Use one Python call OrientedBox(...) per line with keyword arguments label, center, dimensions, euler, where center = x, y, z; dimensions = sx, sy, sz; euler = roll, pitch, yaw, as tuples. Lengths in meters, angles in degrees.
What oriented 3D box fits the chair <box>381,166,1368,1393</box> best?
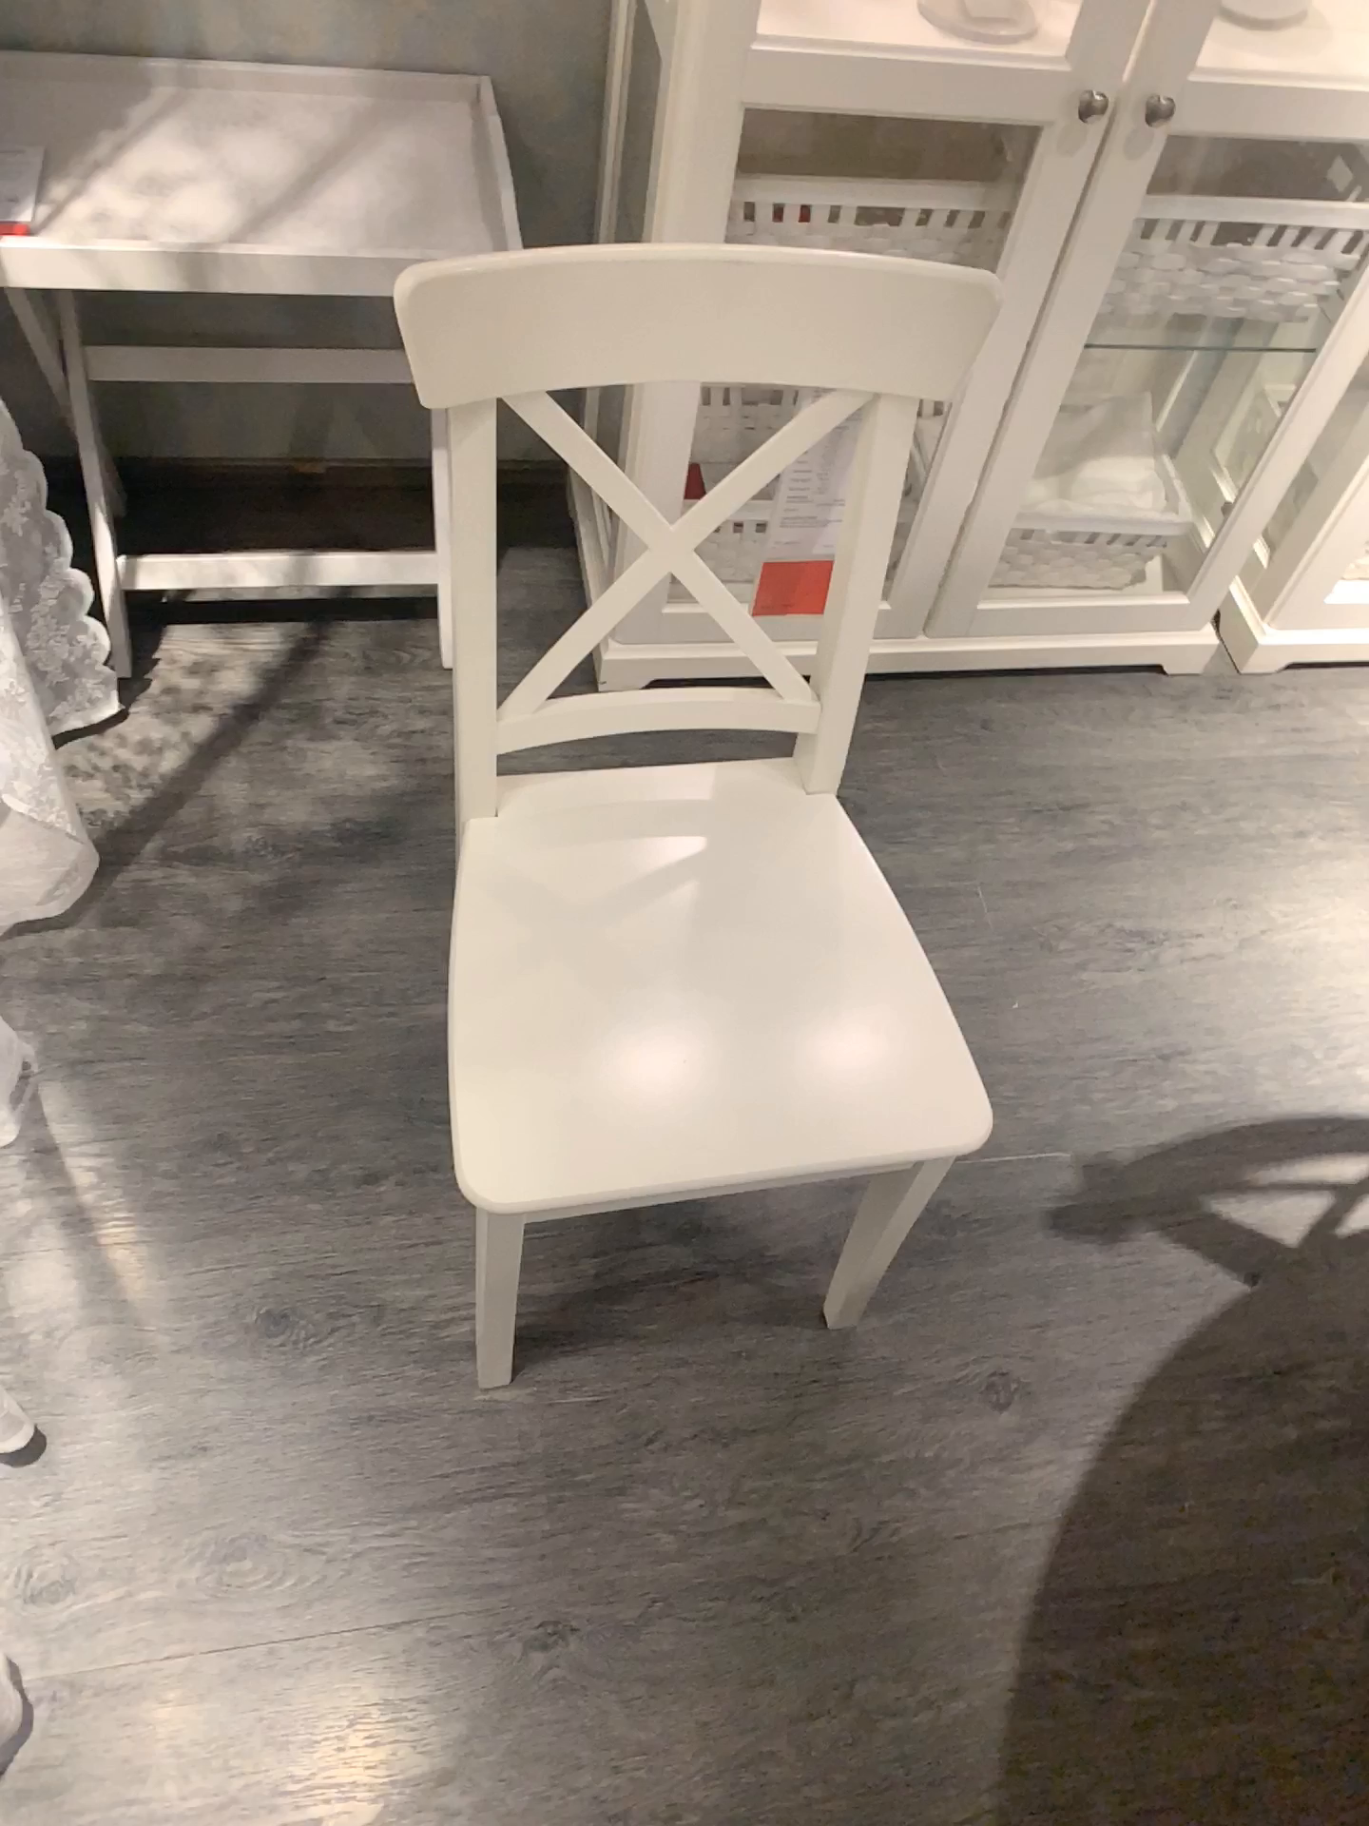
OrientedBox(label="chair", center=(0.024, -0.023, 1.098), dimensions=(0.440, 0.858, 0.491), euler=(-5, 57, -12))
